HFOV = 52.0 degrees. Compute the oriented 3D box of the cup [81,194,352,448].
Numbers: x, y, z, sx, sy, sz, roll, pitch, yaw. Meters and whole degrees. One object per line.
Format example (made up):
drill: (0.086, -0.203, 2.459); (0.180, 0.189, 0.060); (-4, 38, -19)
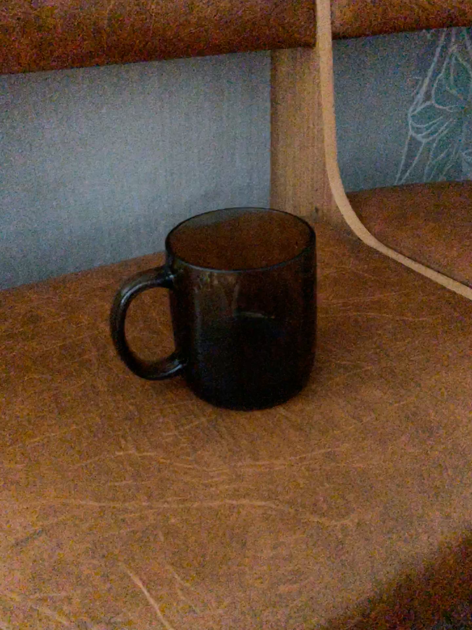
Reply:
cup: (-0.013, -0.003, 0.272); (0.120, 0.089, 0.081); (-13, 33, -16)
